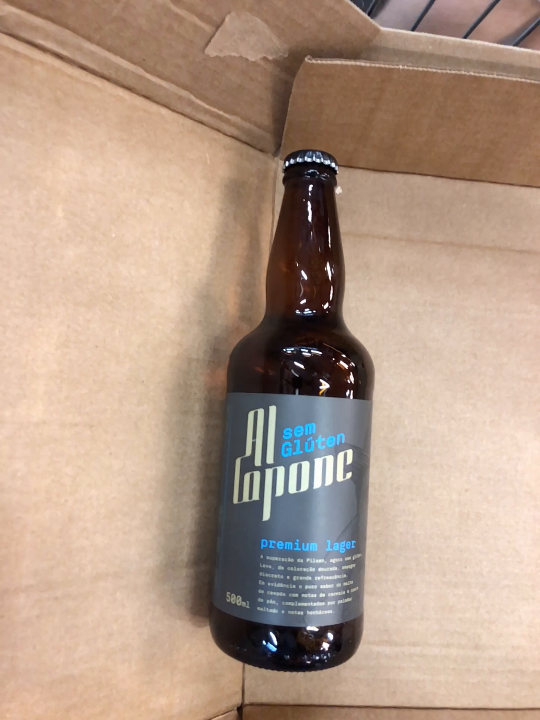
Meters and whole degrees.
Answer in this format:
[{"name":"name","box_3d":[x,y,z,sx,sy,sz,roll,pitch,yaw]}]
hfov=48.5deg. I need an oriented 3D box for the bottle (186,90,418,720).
[{"name":"bottle","box_3d":[0.015,0.017,0.267,0.080,0.060,0.240,4,82,-20]}]
